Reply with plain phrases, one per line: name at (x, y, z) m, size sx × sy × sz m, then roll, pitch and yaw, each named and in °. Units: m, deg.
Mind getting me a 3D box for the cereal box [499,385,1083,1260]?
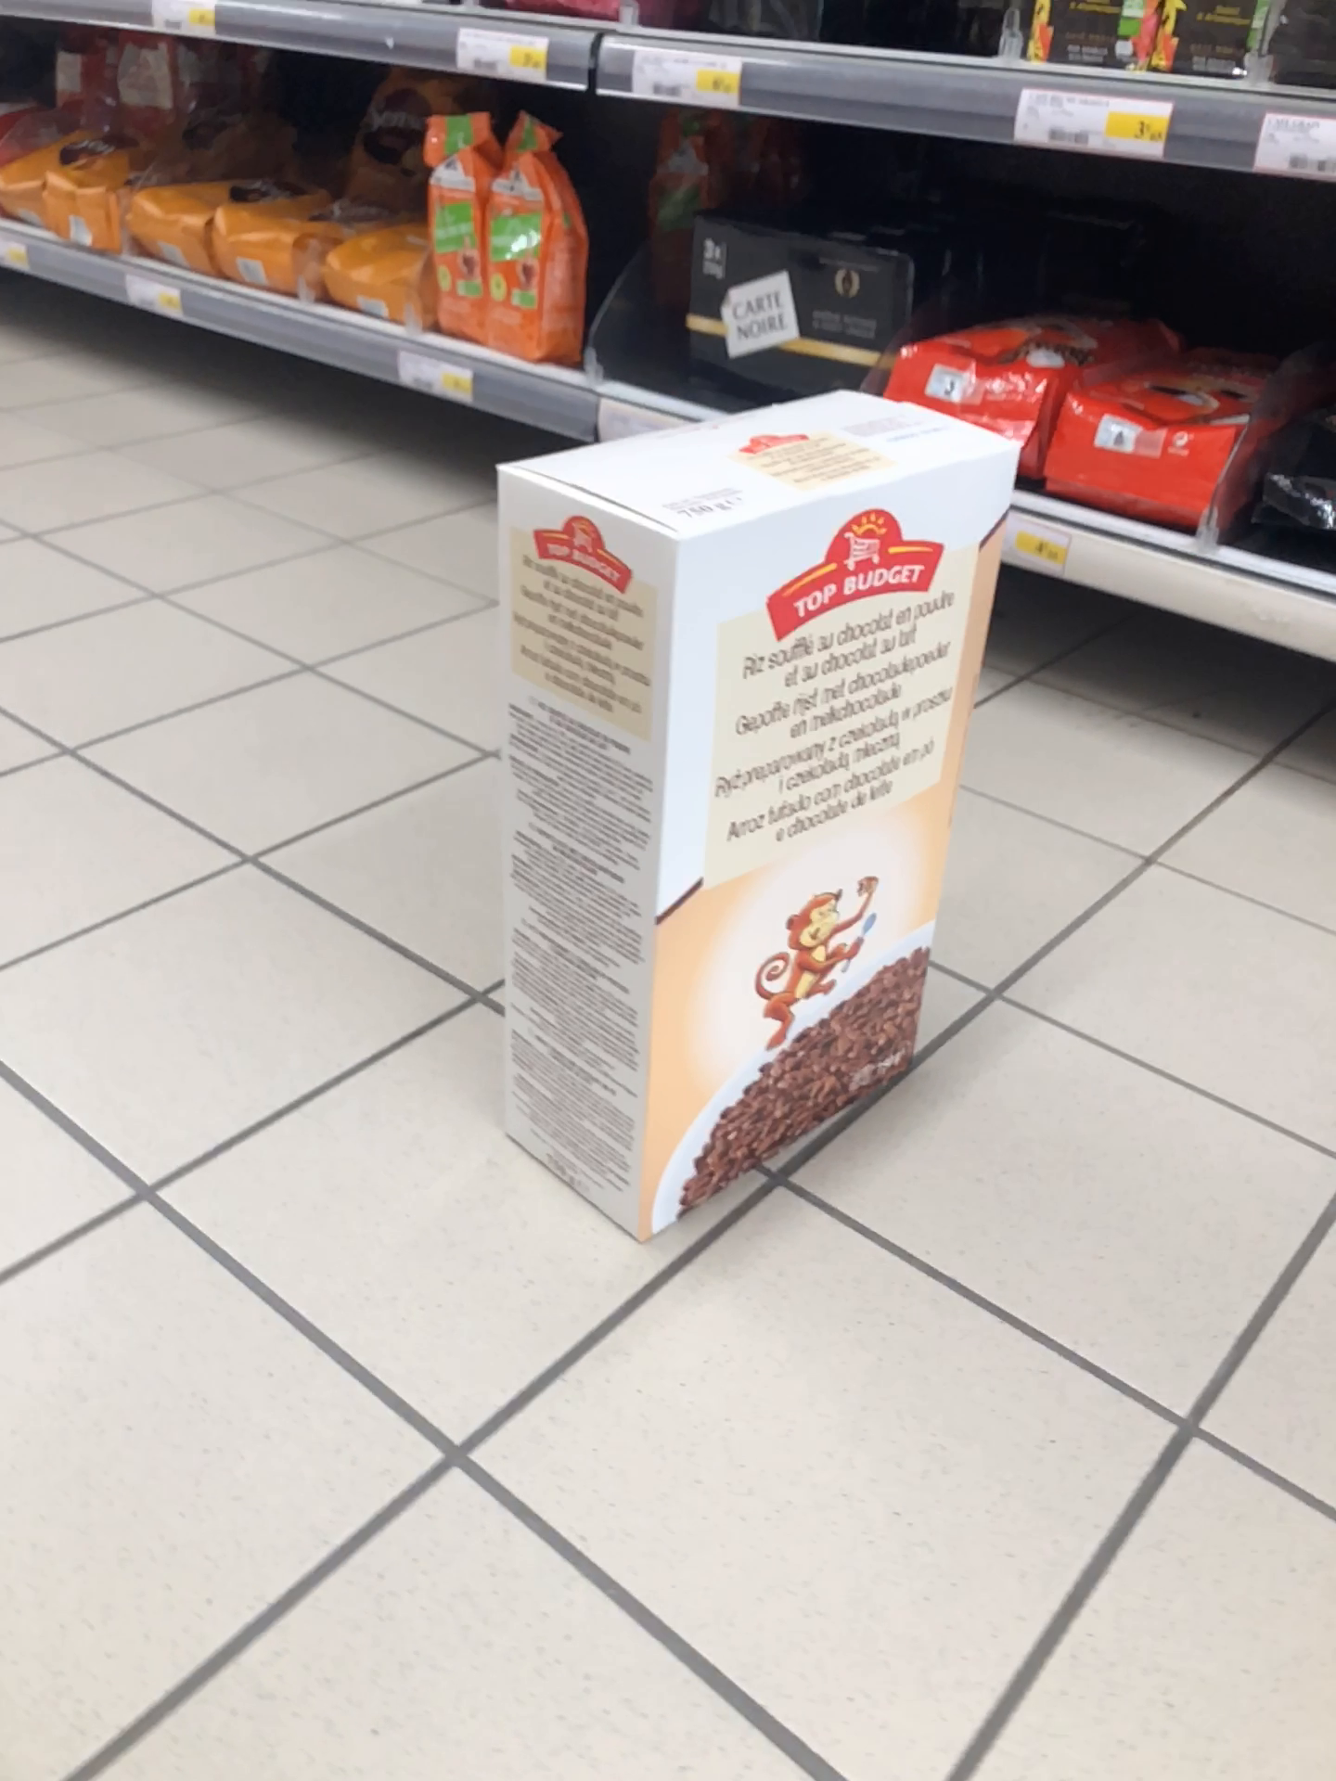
cereal box at (0.045, -0.034, 0.646) m, size 0.211 × 0.318 × 0.110 m, roll -24°, pitch 40°, yaw -37°
